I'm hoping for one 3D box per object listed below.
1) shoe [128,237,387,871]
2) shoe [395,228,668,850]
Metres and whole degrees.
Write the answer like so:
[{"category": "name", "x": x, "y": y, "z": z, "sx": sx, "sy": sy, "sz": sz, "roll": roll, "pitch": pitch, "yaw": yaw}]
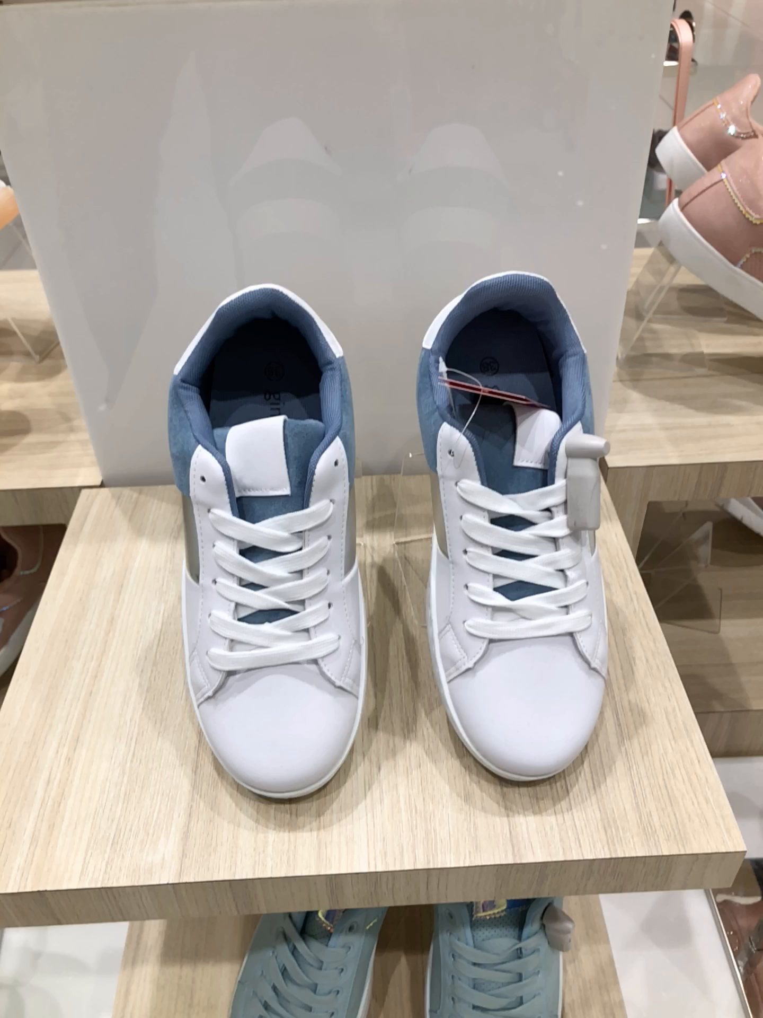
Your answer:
[{"category": "shoe", "x": -0.056, "y": 0.018, "z": 0.409, "sx": 0.092, "sy": 0.261, "sz": 0.104, "roll": -4, "pitch": -4, "yaw": -3}, {"category": "shoe", "x": 0.064, "y": 0.012, "z": 0.415, "sx": 0.102, "sy": 0.263, "sz": 0.104, "roll": -2, "pitch": -2, "yaw": -1}]
